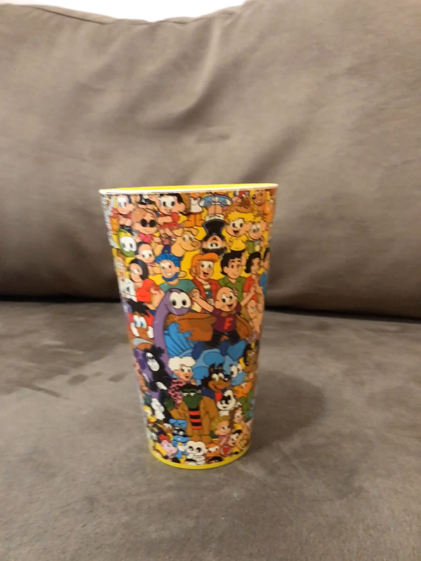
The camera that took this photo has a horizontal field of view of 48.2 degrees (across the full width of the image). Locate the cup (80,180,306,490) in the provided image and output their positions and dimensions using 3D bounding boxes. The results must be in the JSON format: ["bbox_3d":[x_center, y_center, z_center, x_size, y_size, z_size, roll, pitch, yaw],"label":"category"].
[{"bbox_3d":[-0.011,0.017,0.269,0.090,0.140,0.090,-2,10,0],"label":"cup"}]
